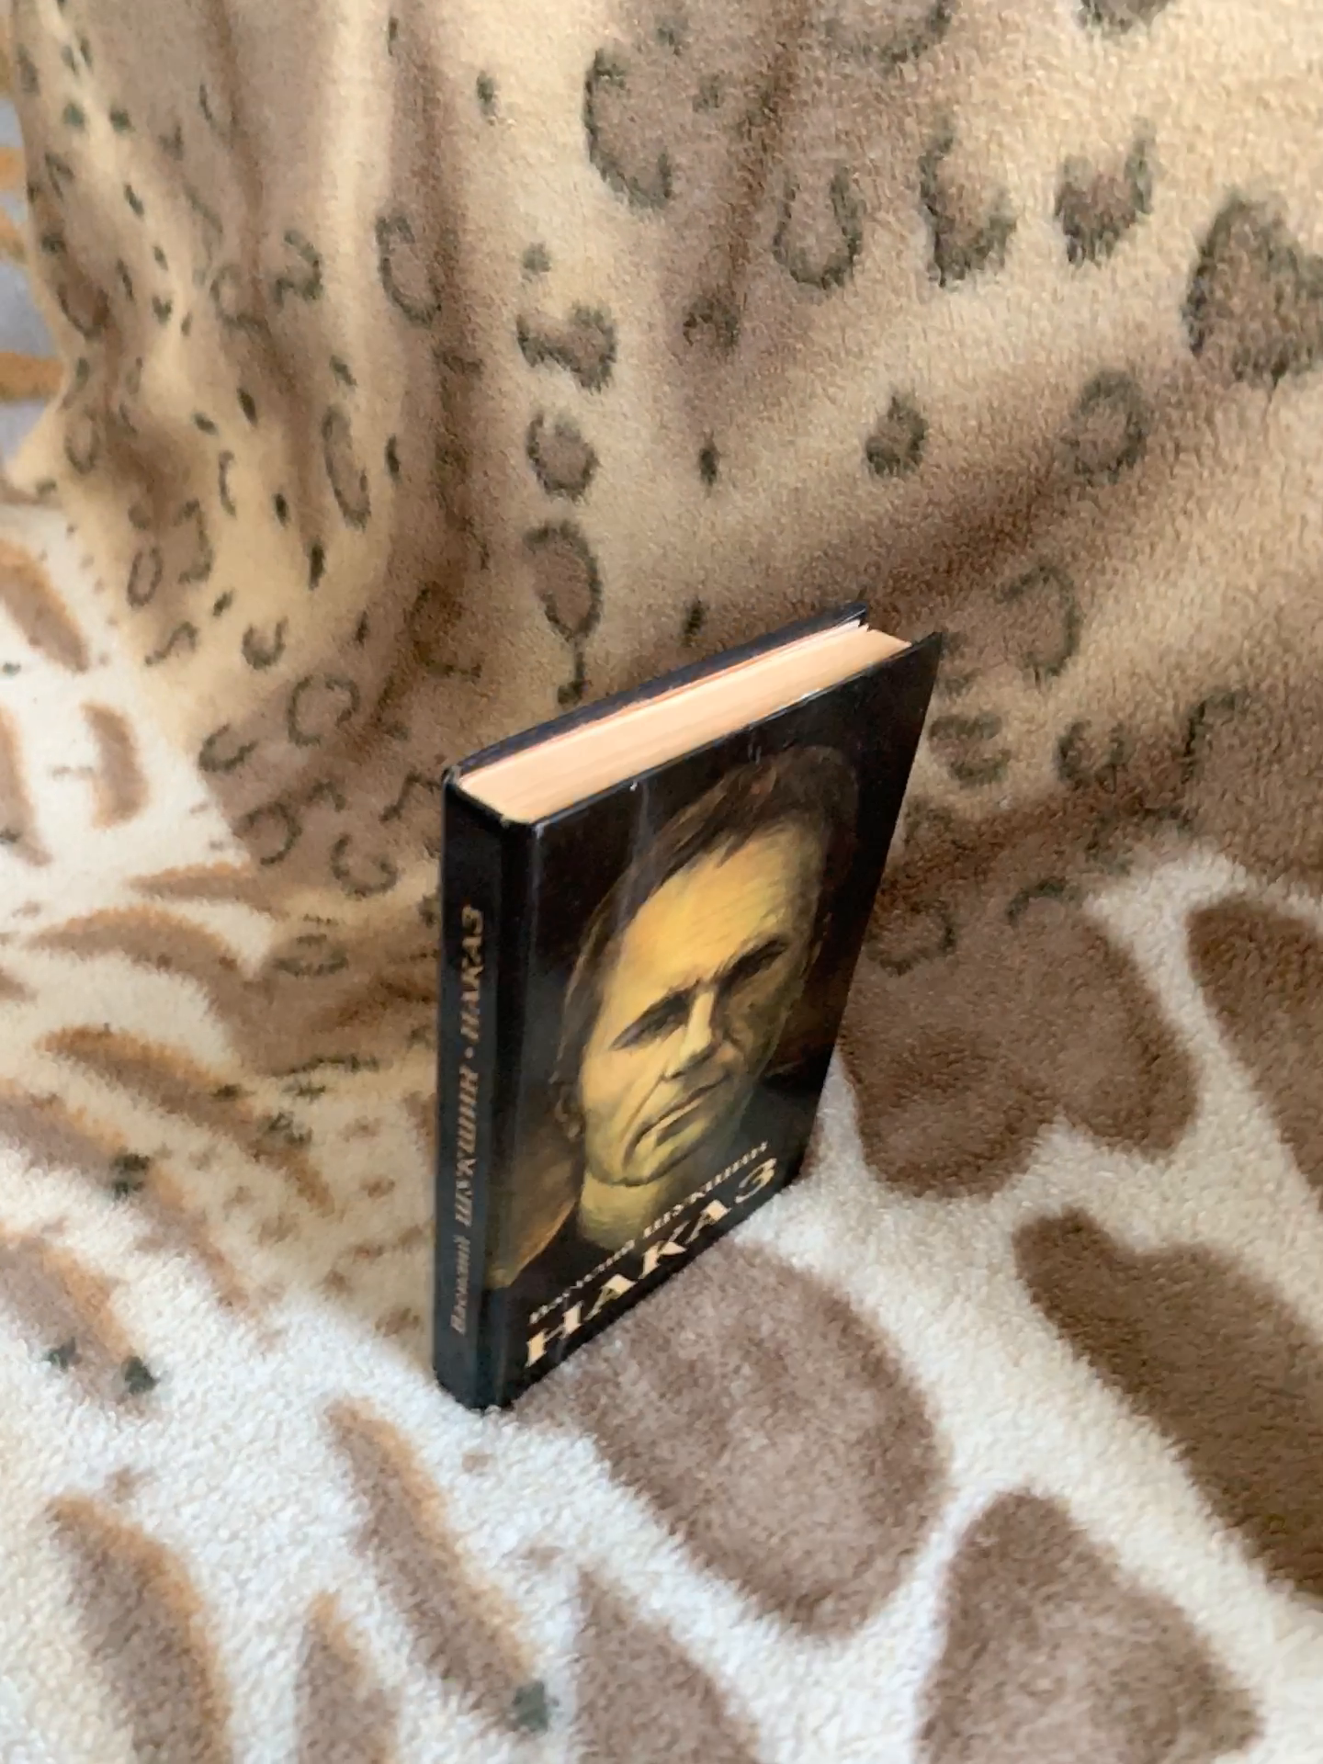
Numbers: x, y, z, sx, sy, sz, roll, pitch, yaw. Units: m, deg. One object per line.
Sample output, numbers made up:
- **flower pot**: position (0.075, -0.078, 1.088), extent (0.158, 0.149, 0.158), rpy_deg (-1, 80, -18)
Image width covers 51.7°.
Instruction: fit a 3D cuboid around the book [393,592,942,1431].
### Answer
- **book**: position (-0.003, 0.039, 0.348), extent (0.131, 0.198, 0.030), rpy_deg (-28, 52, -35)
